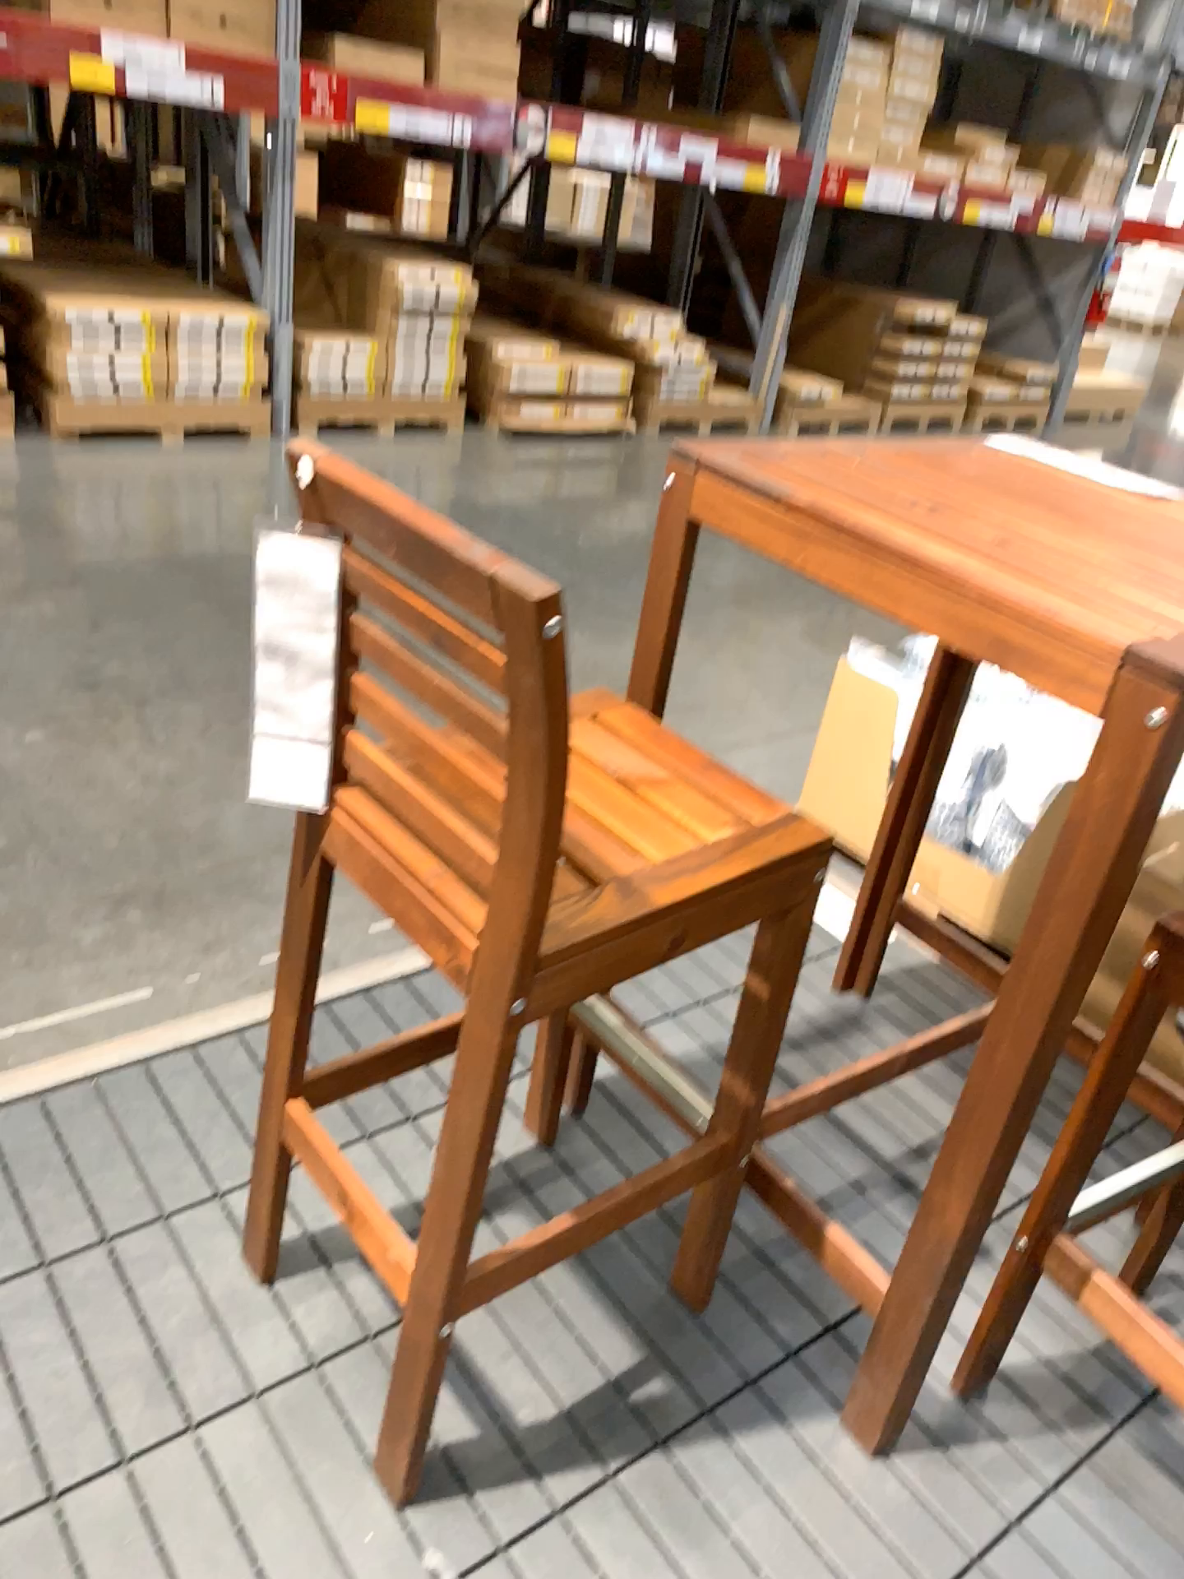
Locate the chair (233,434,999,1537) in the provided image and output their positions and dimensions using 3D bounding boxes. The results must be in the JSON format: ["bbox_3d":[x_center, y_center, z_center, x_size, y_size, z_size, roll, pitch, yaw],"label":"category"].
[{"bbox_3d":[-0.041,0.182,1.301,0.521,0.995,0.431,-14,36,-38],"label":"chair"}]
